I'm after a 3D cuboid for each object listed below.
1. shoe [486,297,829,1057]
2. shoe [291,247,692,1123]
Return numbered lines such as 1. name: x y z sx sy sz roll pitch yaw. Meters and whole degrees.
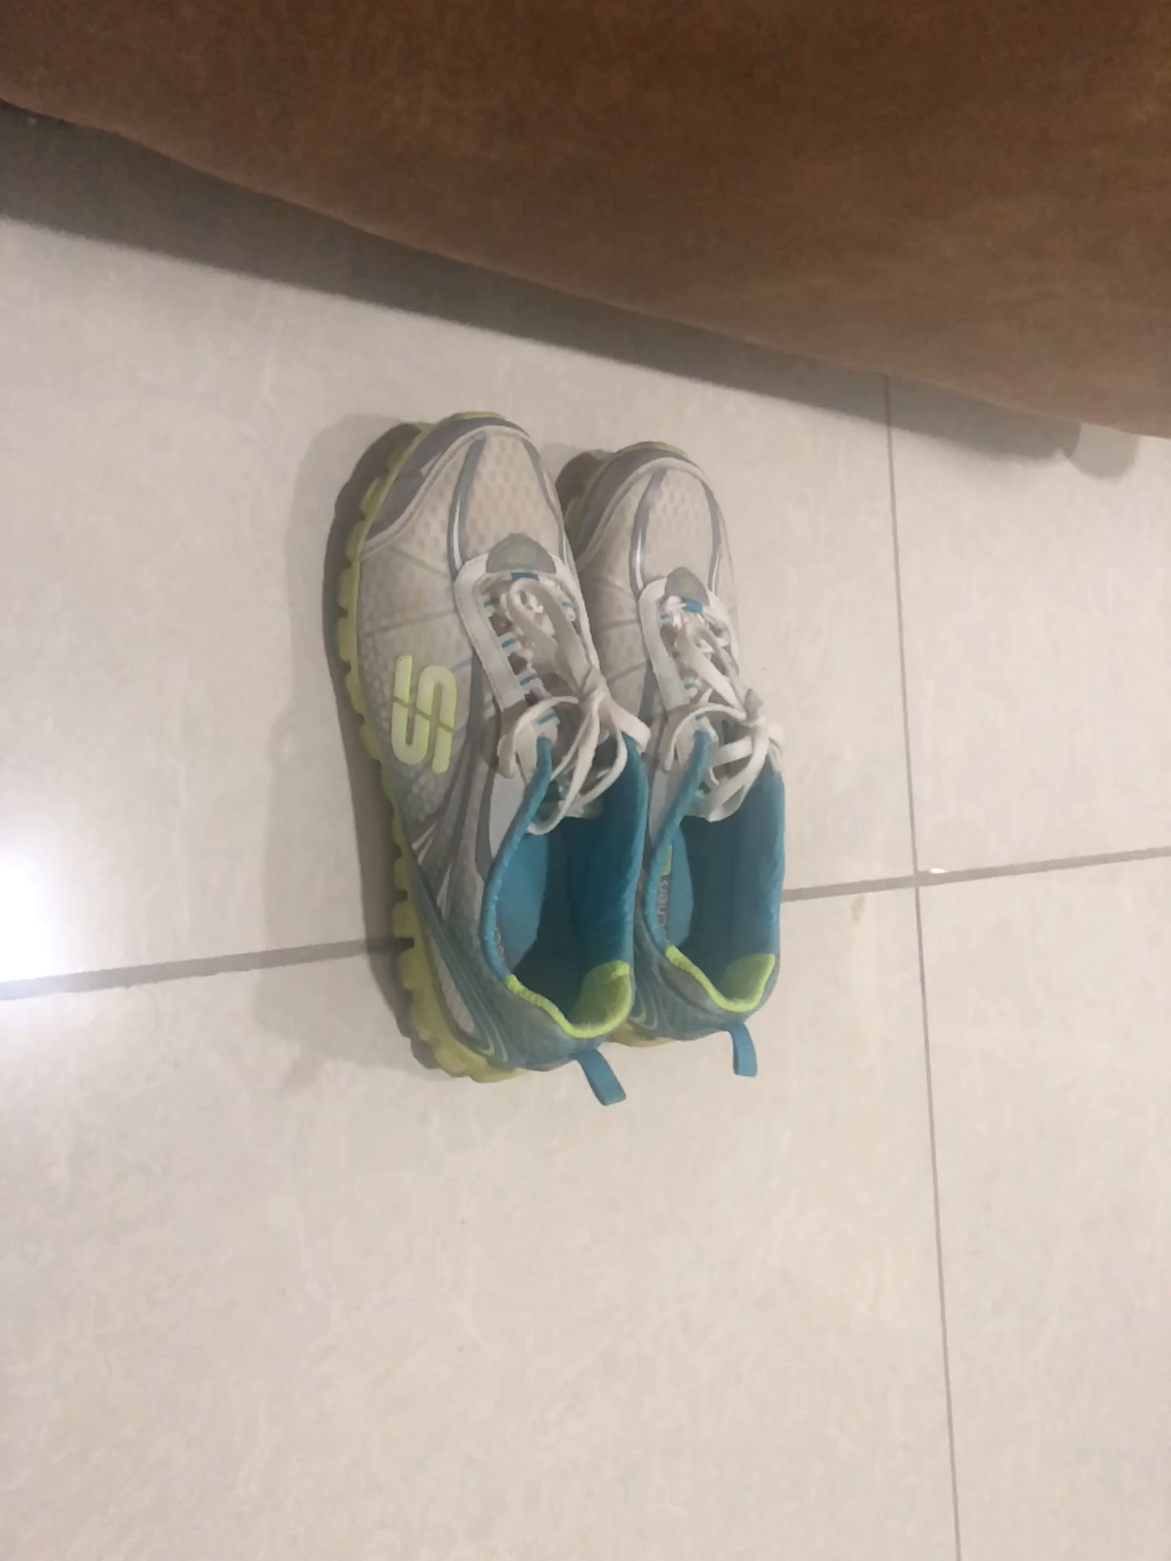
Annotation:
1. shoe: 0.030 -0.039 0.580 0.110 0.100 0.300 2 86 -36
2. shoe: -0.039 -0.033 0.511 0.100 0.100 0.300 -3 89 -36
